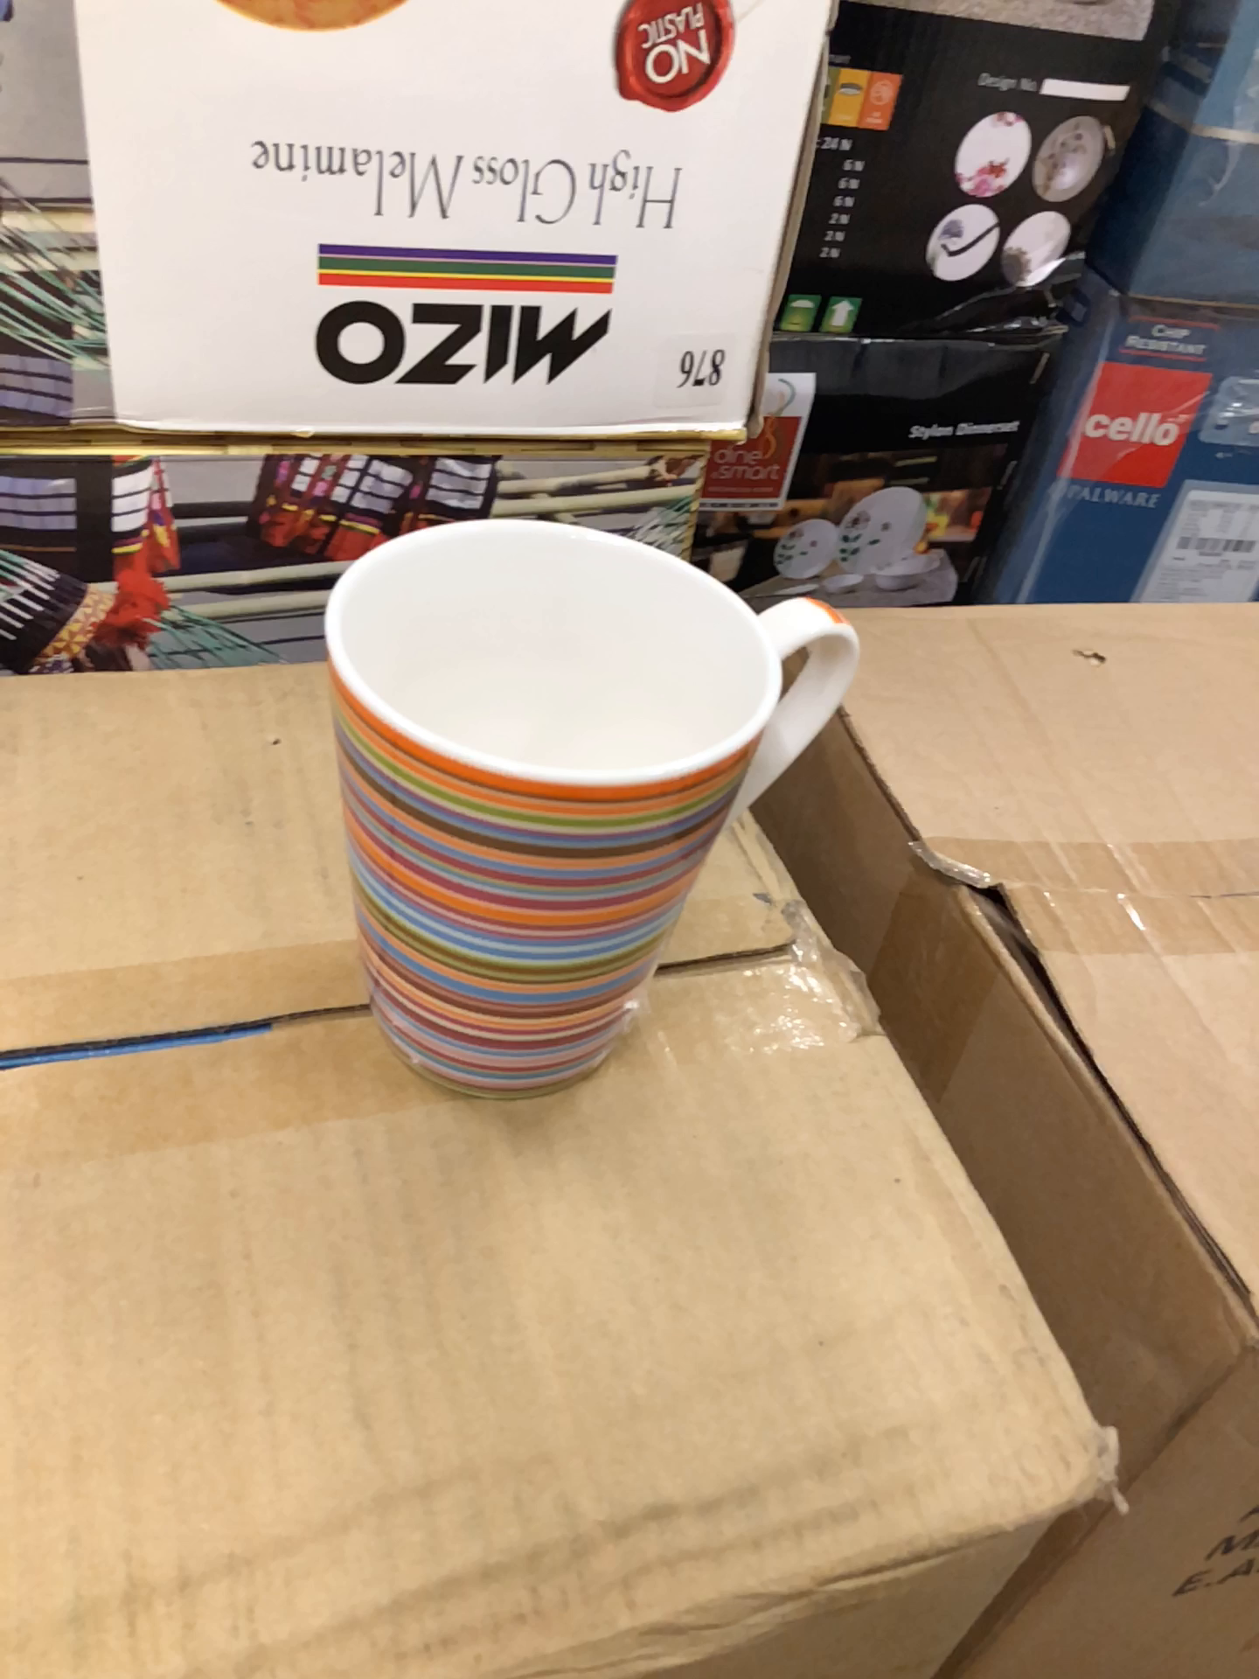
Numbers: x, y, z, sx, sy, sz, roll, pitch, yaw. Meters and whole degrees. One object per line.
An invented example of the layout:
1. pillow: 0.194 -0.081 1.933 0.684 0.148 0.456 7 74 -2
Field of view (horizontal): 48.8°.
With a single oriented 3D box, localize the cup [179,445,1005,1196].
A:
1. cup: -0.010 -0.012 0.282 0.131 0.089 0.080 -20 50 -33
